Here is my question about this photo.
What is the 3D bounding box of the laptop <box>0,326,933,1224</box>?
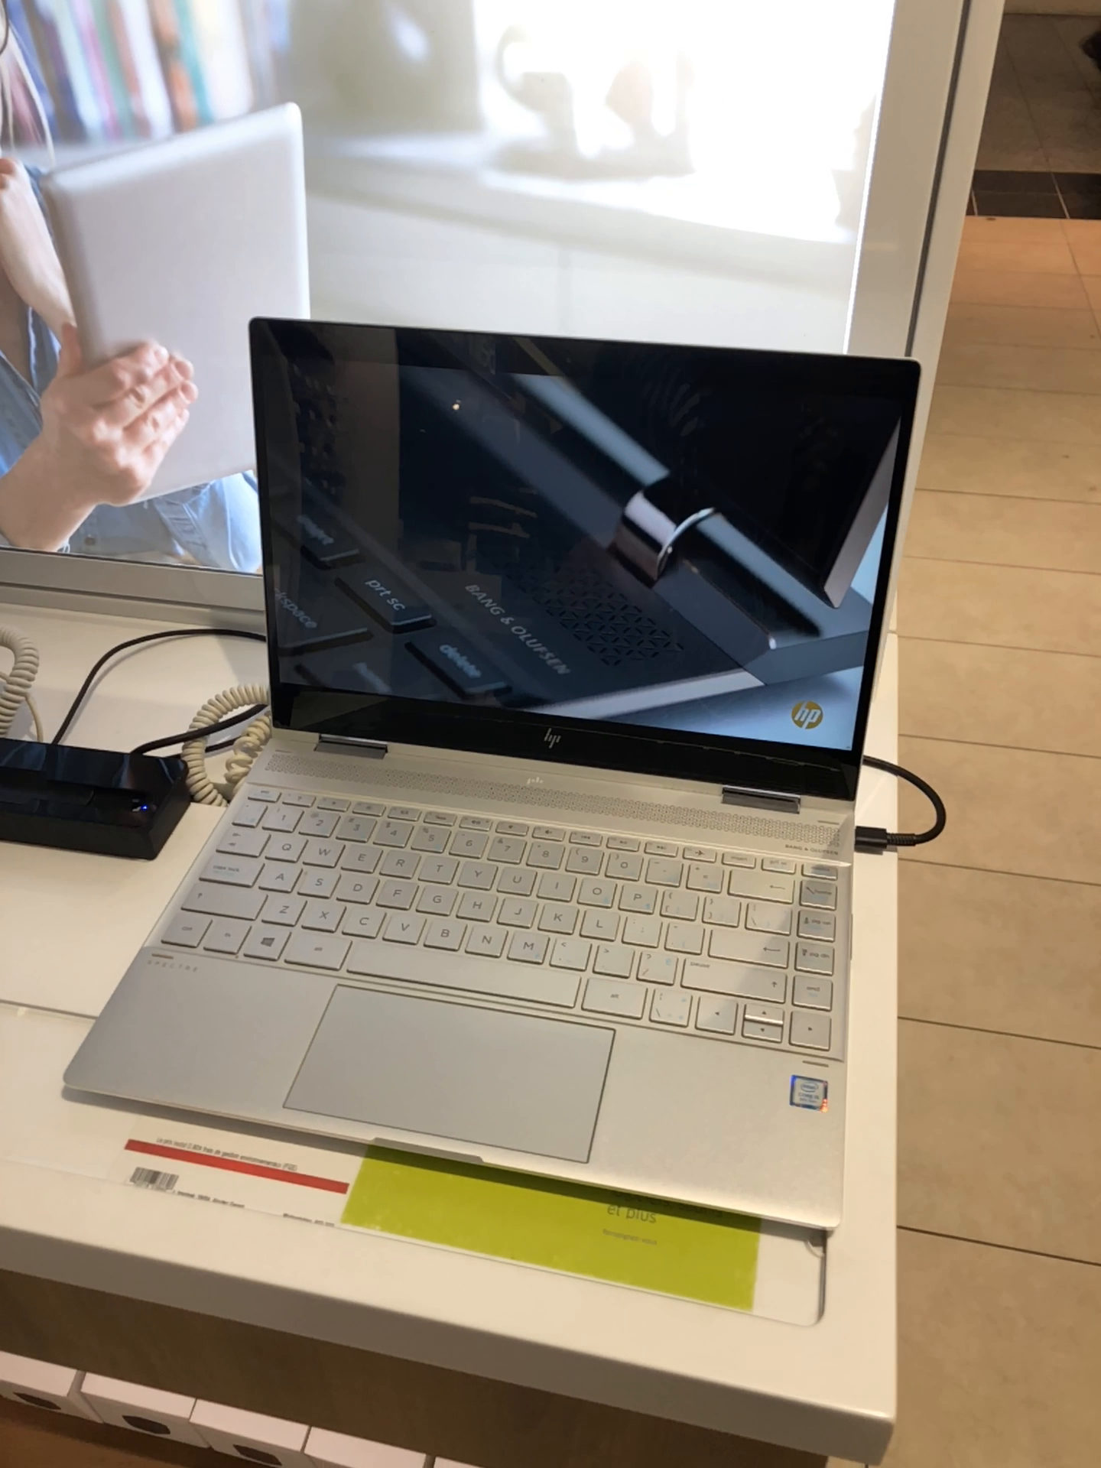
[{"bbox_3d":[-0.016,-0.011,0.495,0.299,0.193,0.283,7,40,11],"label":"laptop"}]
